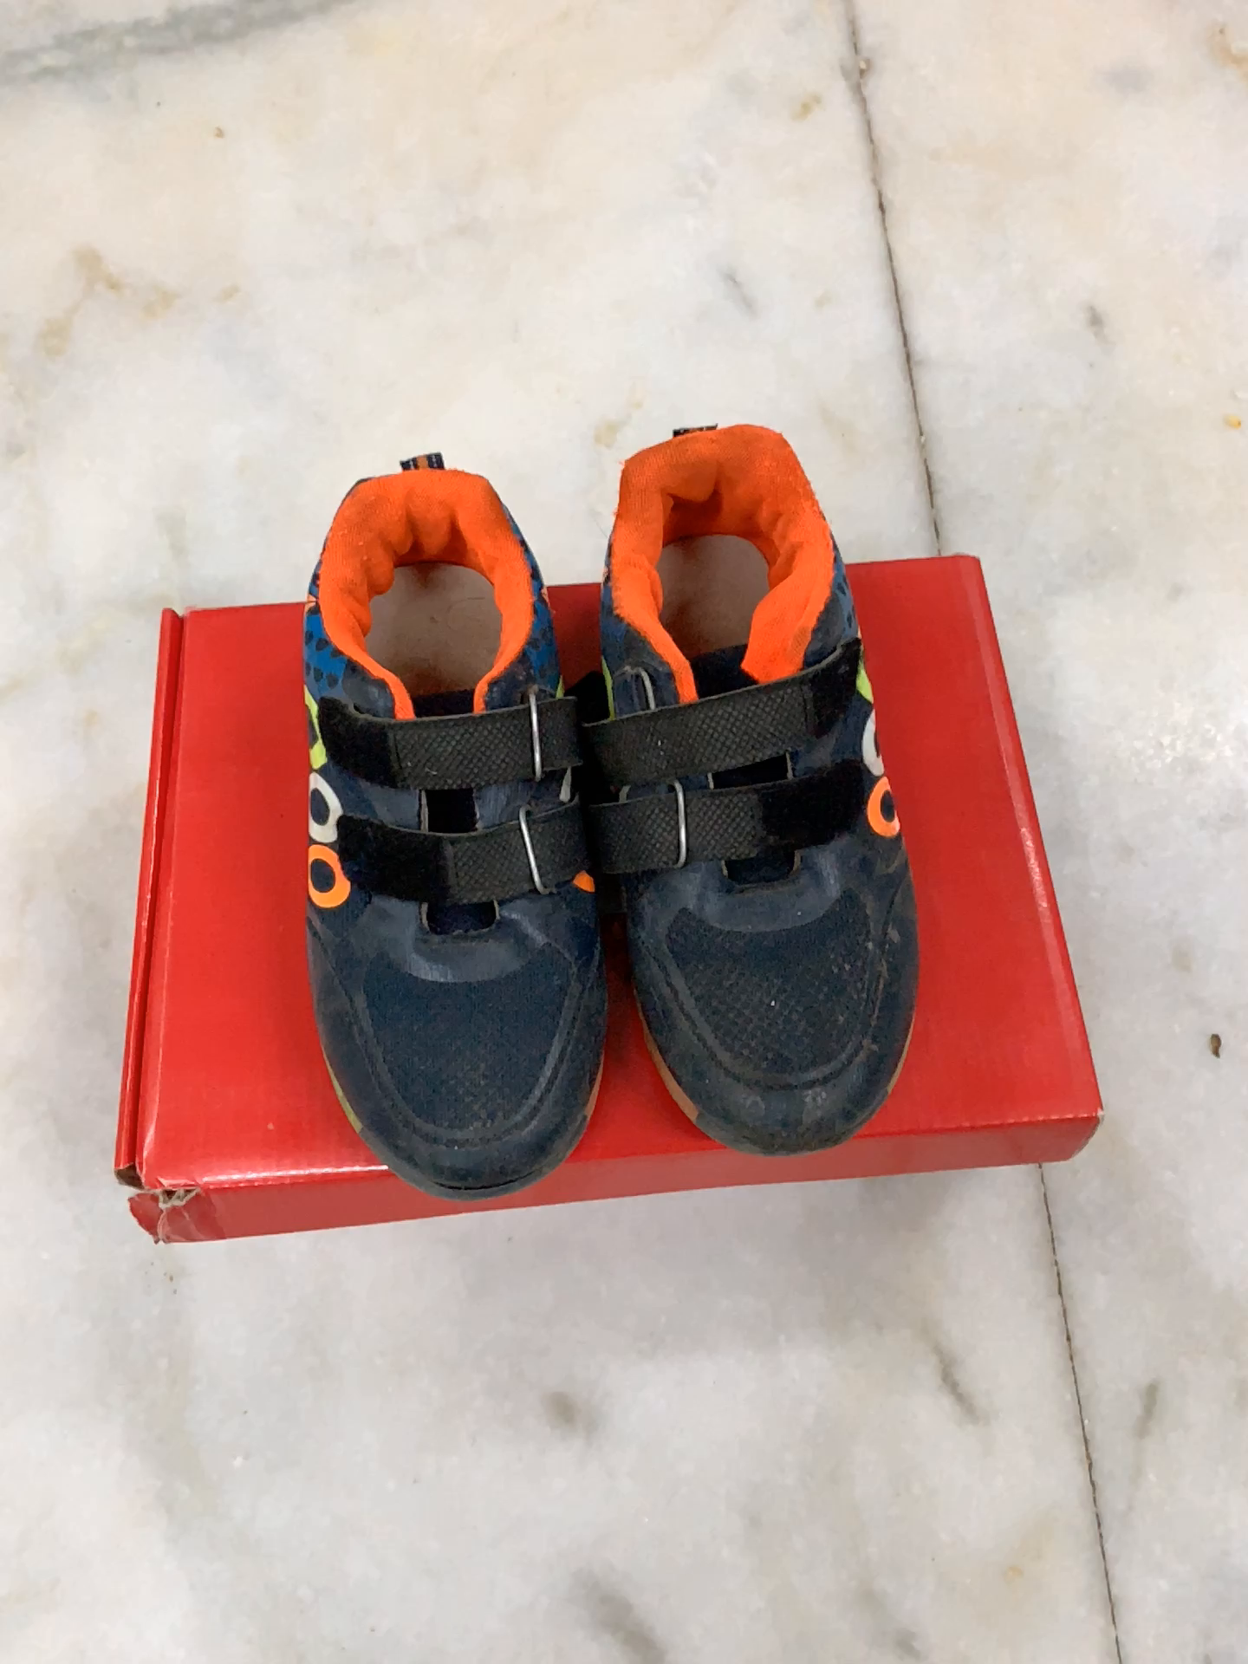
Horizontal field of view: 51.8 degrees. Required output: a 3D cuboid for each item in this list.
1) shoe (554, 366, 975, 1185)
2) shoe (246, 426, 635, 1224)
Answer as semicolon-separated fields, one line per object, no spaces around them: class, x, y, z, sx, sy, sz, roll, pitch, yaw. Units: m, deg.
shoe;0.029;-0.017;0.361;0.080;0.080;0.211;-5;67;-2
shoe;-0.052;-0.002;0.380;0.090;0.090;0.211;-5;68;-2
